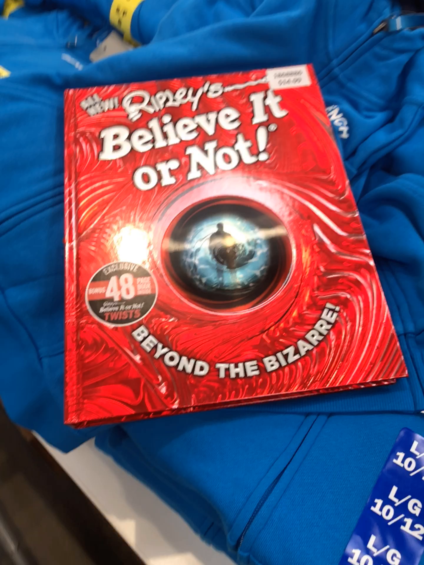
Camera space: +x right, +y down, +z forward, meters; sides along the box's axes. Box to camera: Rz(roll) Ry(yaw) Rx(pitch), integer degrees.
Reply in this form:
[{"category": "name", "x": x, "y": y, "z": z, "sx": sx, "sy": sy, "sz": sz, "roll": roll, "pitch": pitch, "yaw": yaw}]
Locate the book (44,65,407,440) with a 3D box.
[{"category": "book", "x": -0.008, "y": -0.046, "z": 0.388, "sx": 0.244, "sy": 0.028, "sz": 0.304, "roll": -7, "pitch": 66, "yaw": -2}]
